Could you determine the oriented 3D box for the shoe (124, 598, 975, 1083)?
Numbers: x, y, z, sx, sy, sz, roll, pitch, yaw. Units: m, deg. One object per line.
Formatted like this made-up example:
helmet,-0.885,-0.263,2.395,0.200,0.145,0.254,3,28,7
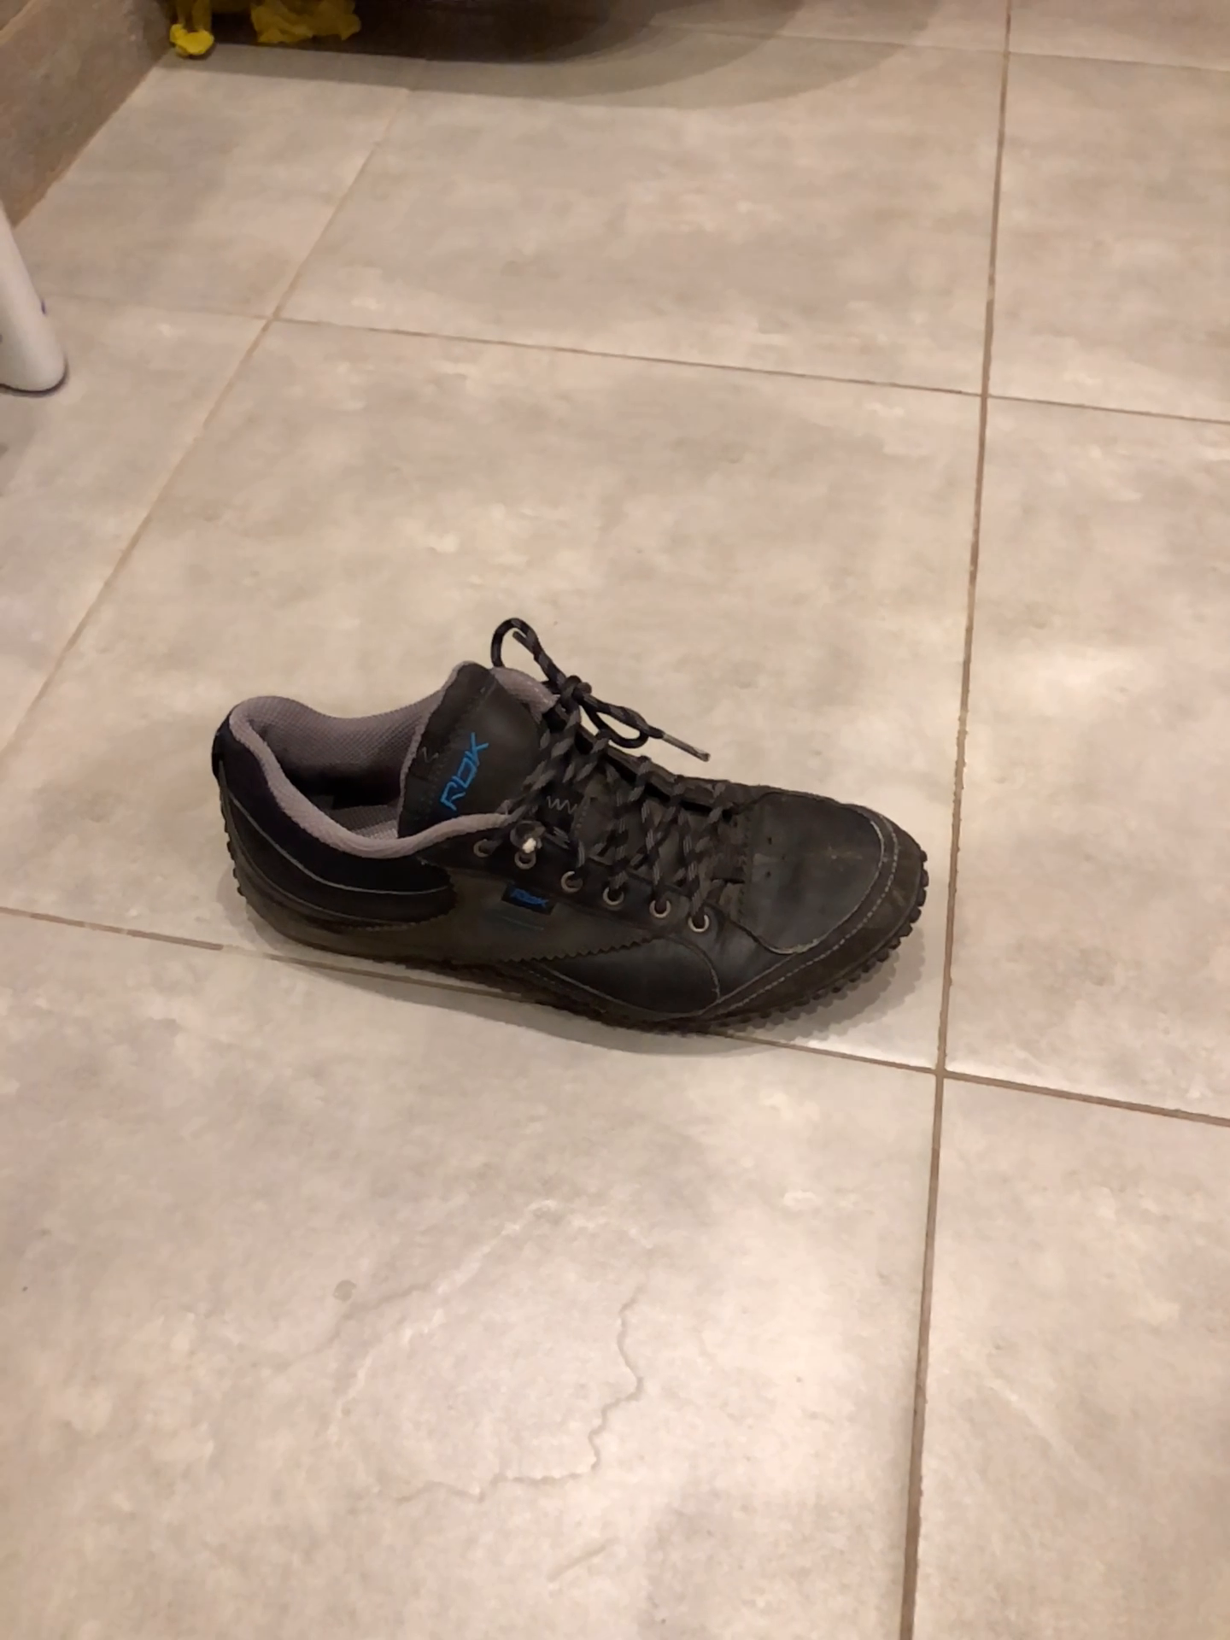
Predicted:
shoe,-0.016,0.007,0.495,0.270,0.109,0.101,7,54,6
